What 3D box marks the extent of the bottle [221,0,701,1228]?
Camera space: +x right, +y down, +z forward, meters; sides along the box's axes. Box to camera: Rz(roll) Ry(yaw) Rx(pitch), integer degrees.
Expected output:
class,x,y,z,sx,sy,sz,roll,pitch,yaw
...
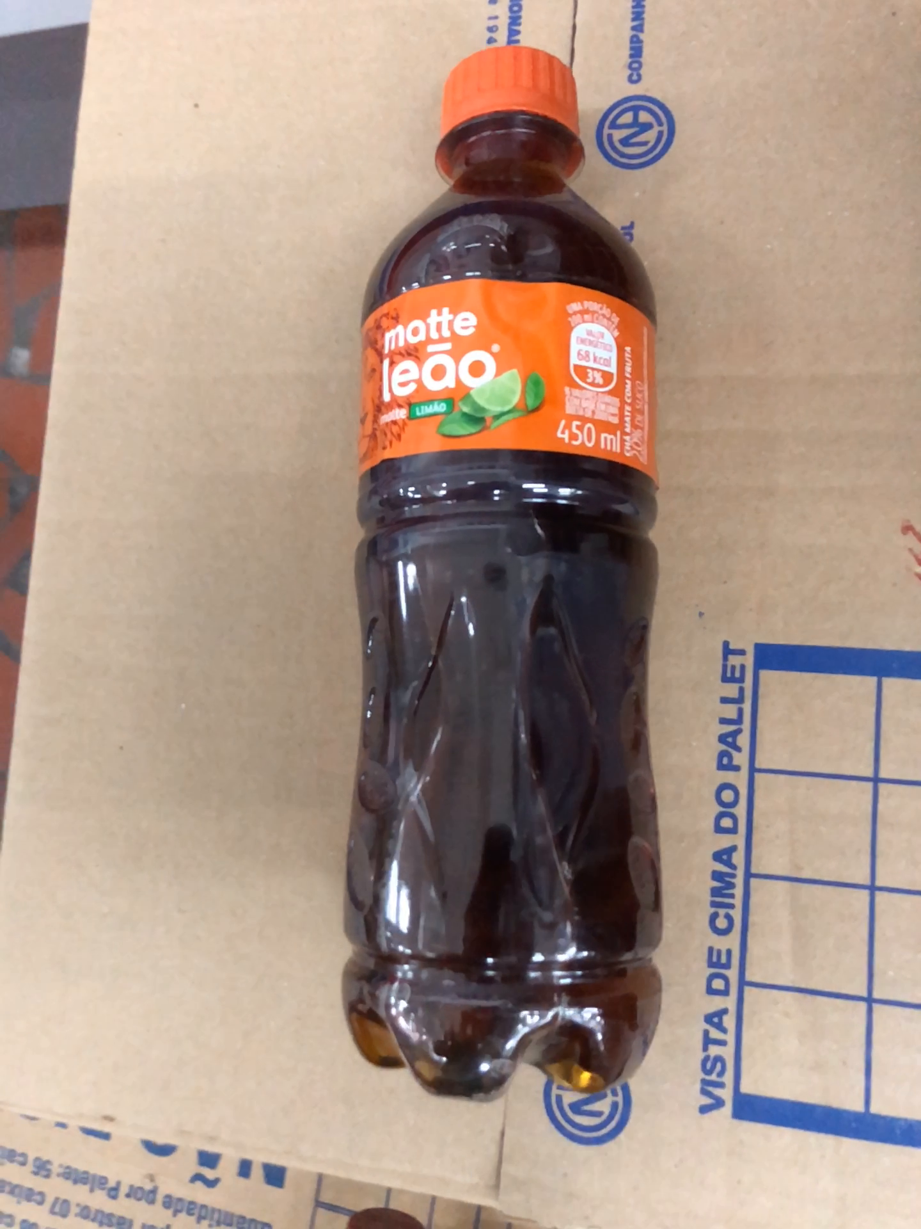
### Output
class,x,y,z,sx,sy,sz,roll,pitch,yaw
bottle,0.008,-0.012,0.199,0.070,0.060,0.220,2,84,13
